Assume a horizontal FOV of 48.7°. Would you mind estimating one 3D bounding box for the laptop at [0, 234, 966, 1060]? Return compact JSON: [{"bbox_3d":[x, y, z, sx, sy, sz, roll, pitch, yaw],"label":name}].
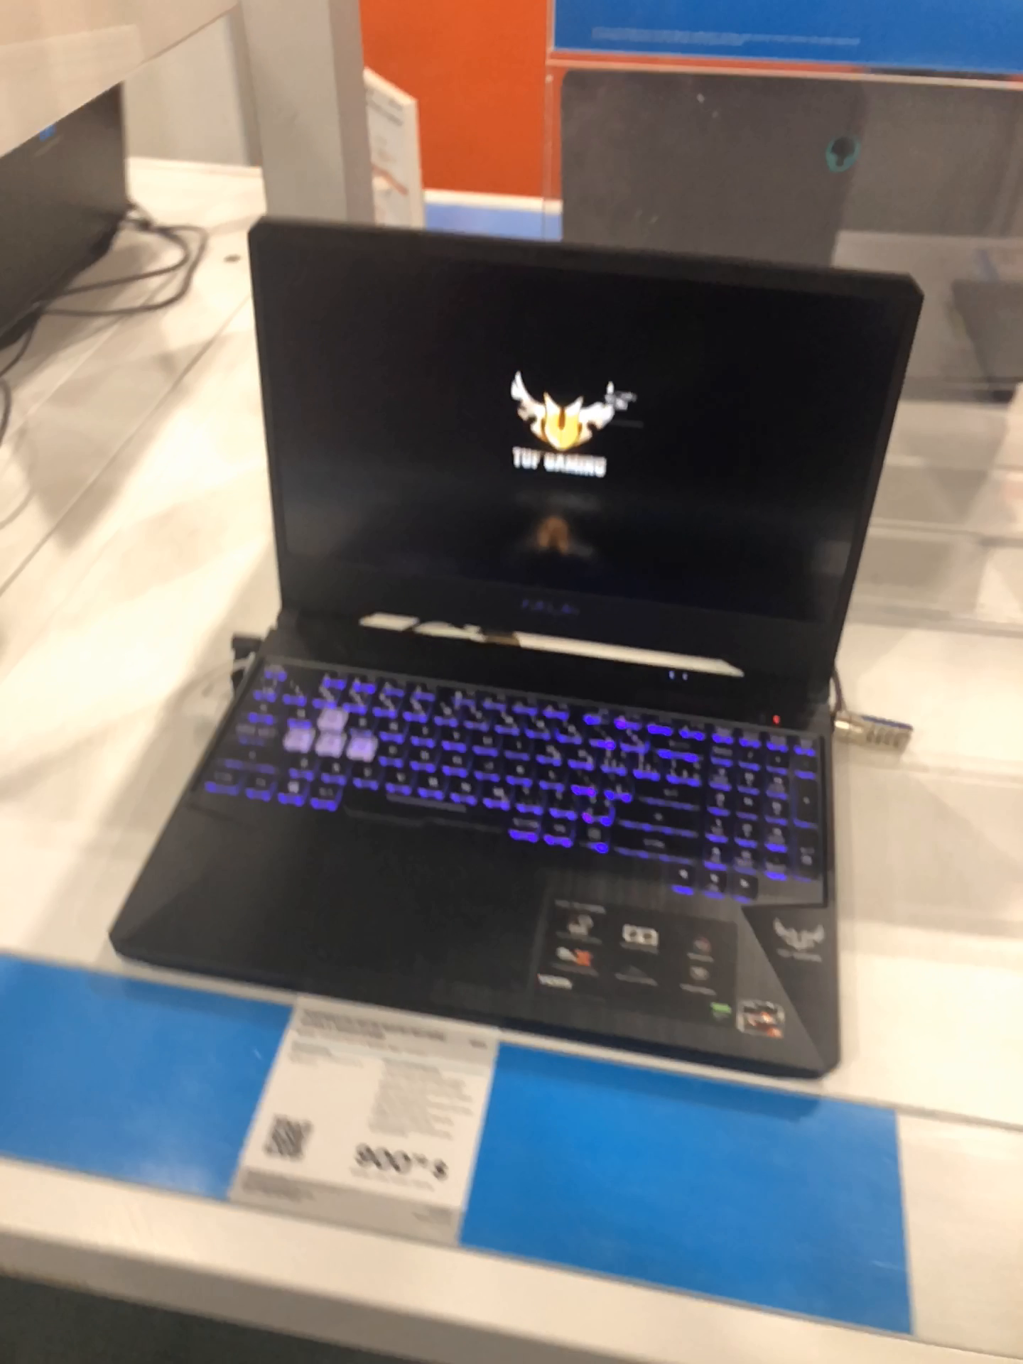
[{"bbox_3d":[0.004,-0.036,0.570,0.350,0.235,0.302,8,43,8],"label":"laptop"}]
